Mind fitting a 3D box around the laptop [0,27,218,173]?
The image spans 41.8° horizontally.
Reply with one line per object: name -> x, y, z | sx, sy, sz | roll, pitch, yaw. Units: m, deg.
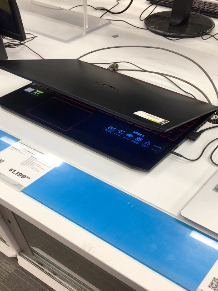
laptop -> -0.009, -0.121, 0.600 | 0.383, 0.099, 0.250 | 29, 52, 25
